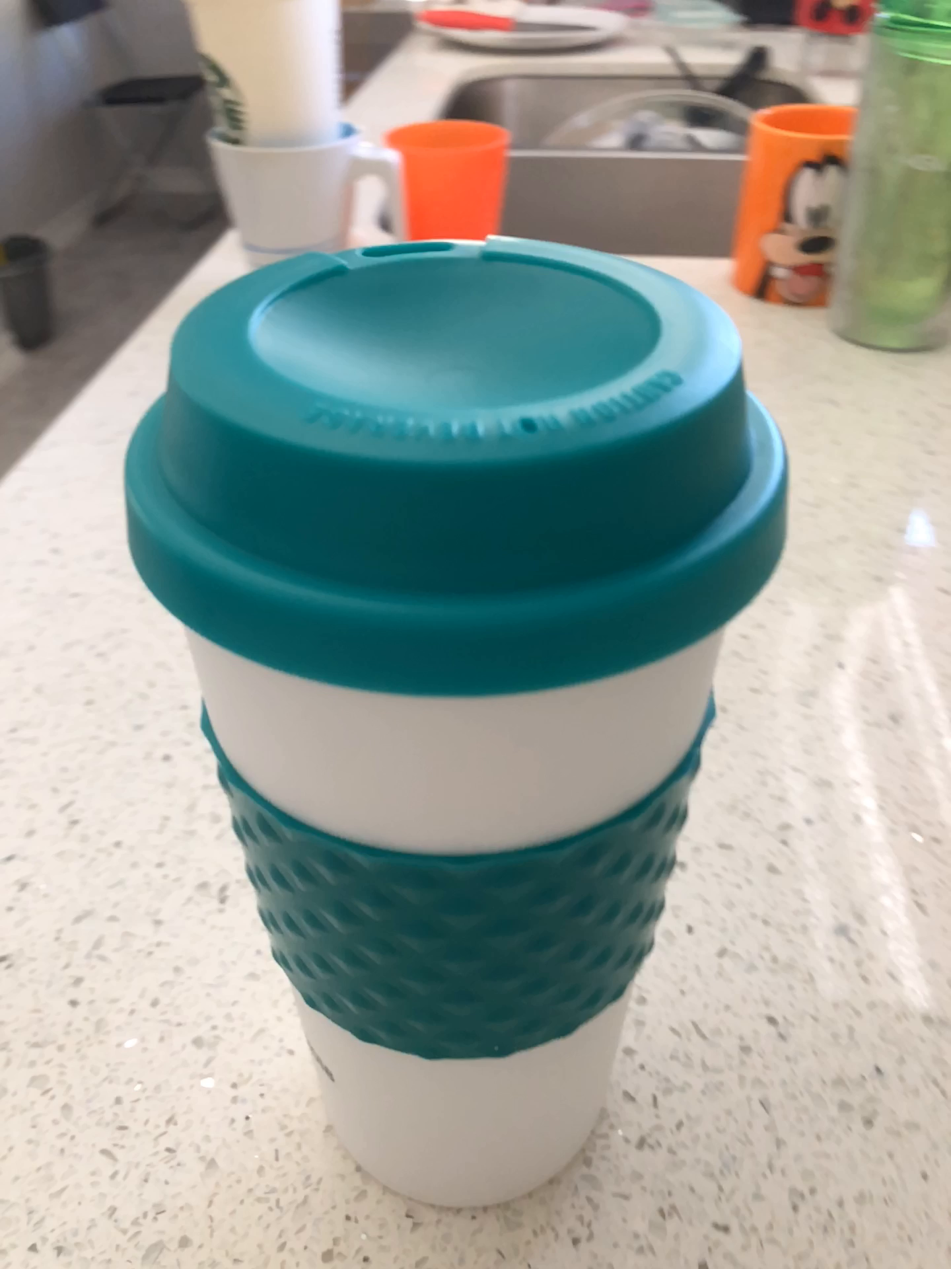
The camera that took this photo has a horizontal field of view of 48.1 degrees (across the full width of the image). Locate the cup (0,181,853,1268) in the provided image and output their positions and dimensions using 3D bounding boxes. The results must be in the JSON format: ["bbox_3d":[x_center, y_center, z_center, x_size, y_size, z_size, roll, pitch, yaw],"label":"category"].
[{"bbox_3d":[-0.002,0.023,0.191,0.100,0.169,0.100,-1,36,0],"label":"cup"}]
